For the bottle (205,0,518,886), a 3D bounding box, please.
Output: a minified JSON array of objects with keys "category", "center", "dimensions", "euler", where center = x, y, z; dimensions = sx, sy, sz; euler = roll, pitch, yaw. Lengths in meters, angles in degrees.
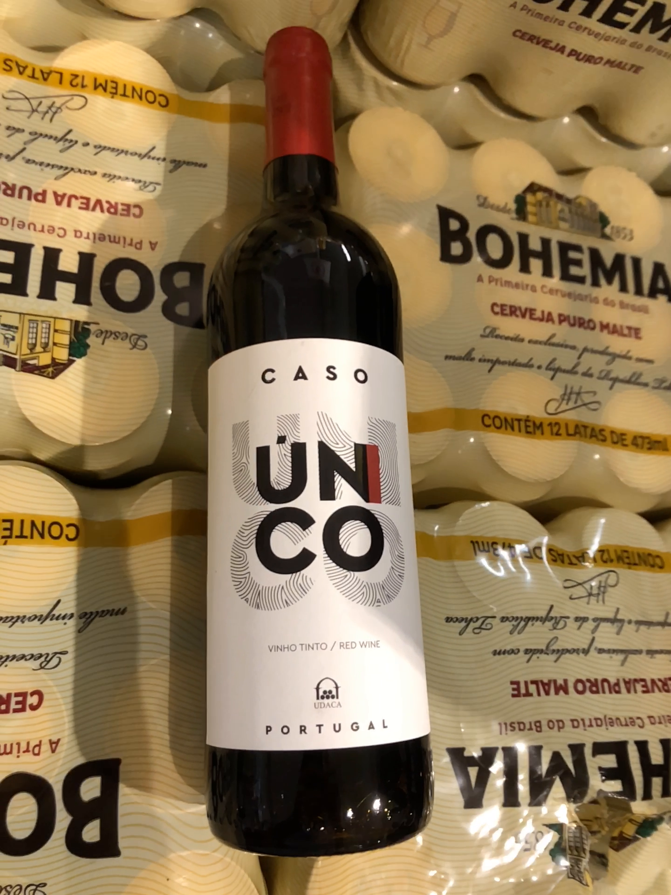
[{"category":"bottle","center":[-0.002,-0.037,0.278],"dimensions":[0.080,0.070,0.330],"euler":[2,75,-19]}]
